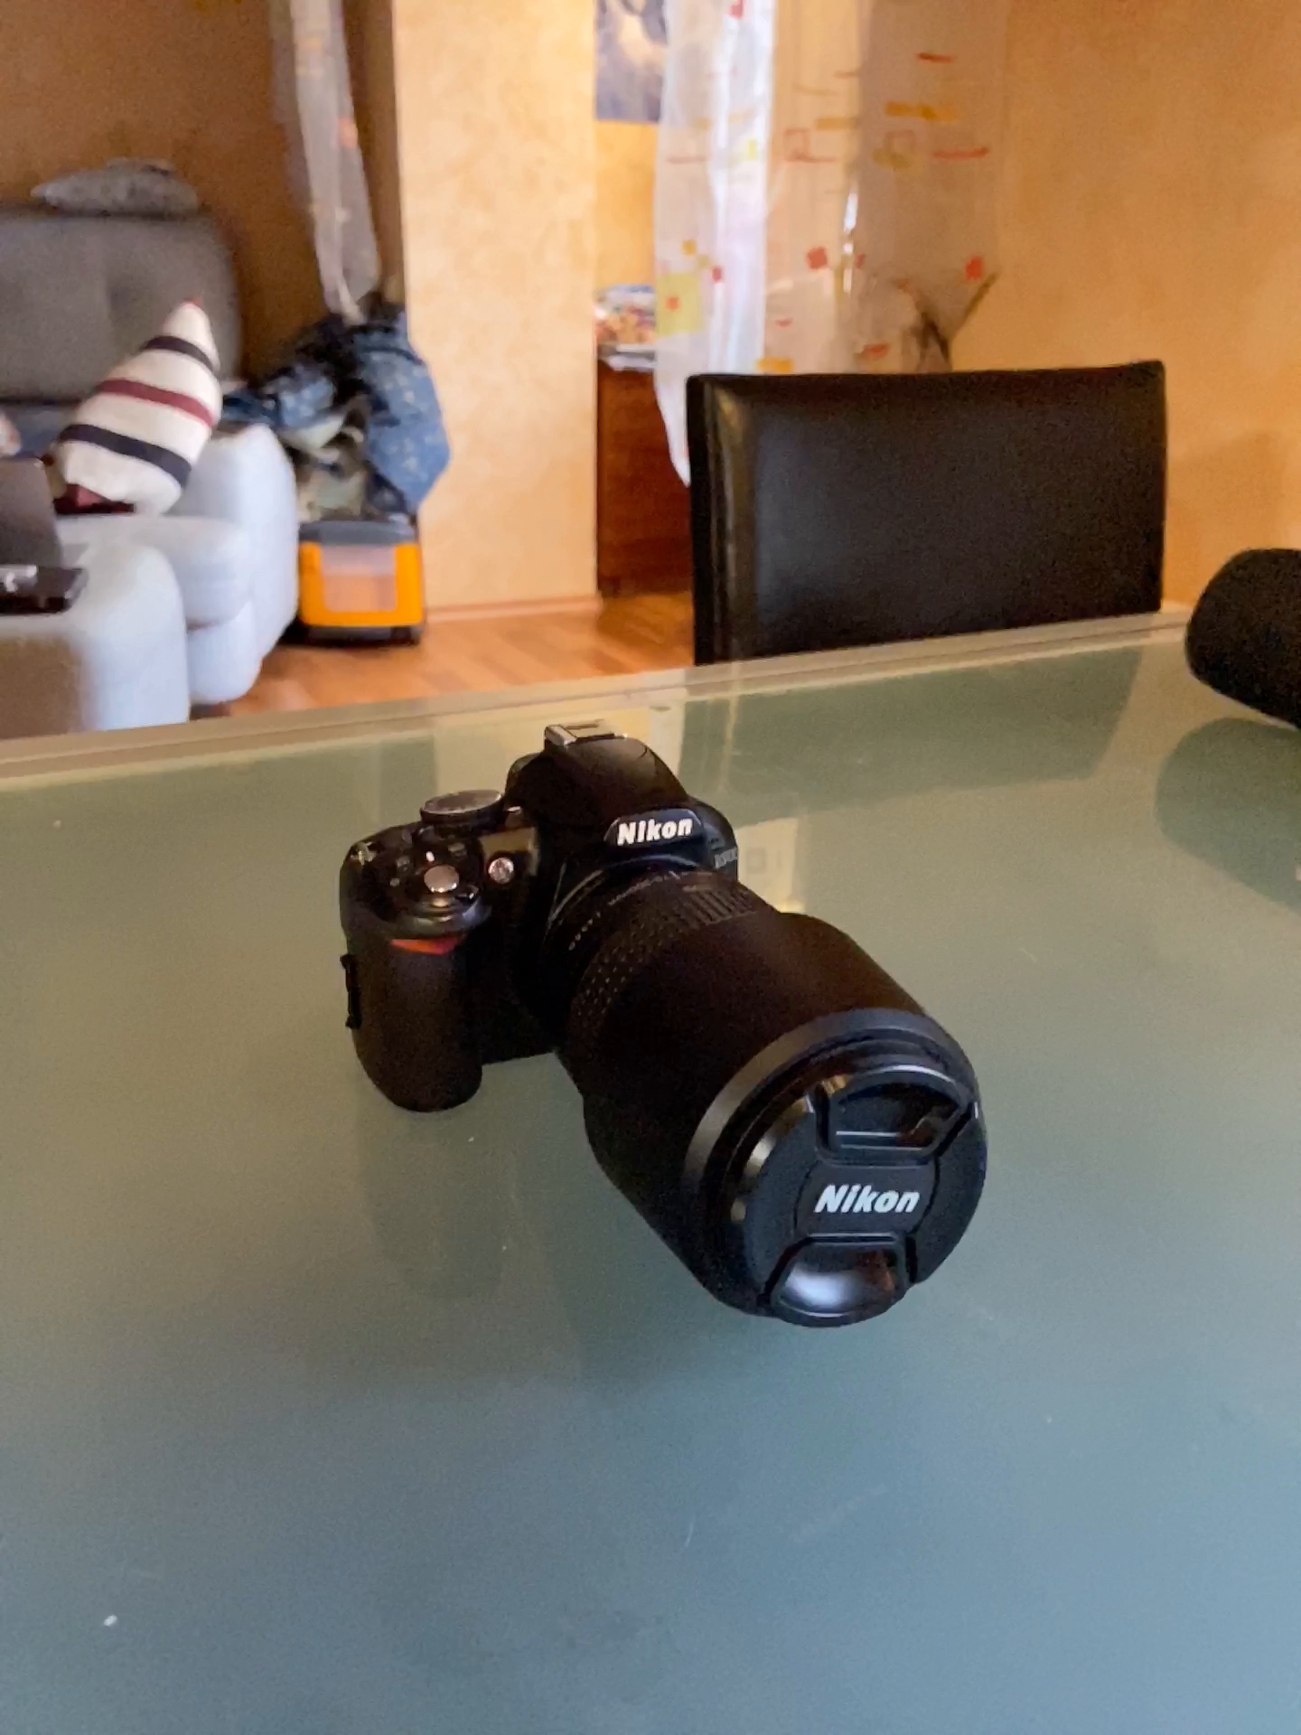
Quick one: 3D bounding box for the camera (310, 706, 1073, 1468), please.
[{"bbox_3d":[-0.006,0.035,0.358,0.124,0.094,0.189,-9,26,-23],"label":"camera"}]
